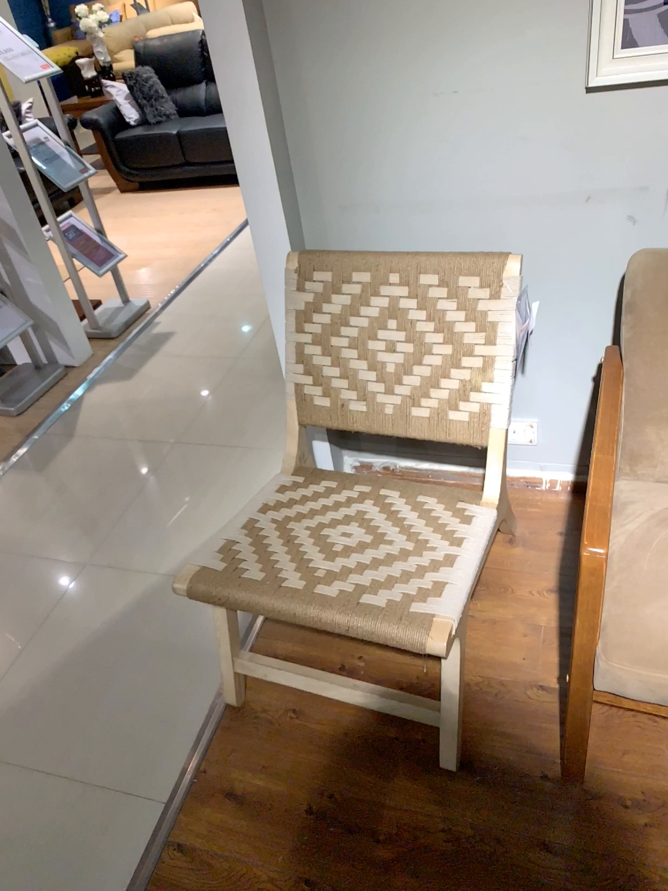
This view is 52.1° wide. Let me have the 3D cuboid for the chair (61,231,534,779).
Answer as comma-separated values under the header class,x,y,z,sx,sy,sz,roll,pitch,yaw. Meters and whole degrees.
class,x,y,z,sx,sy,sz,roll,pitch,yaw
chair,0.040,0.087,1.448,0.631,0.846,0.662,7,39,22
